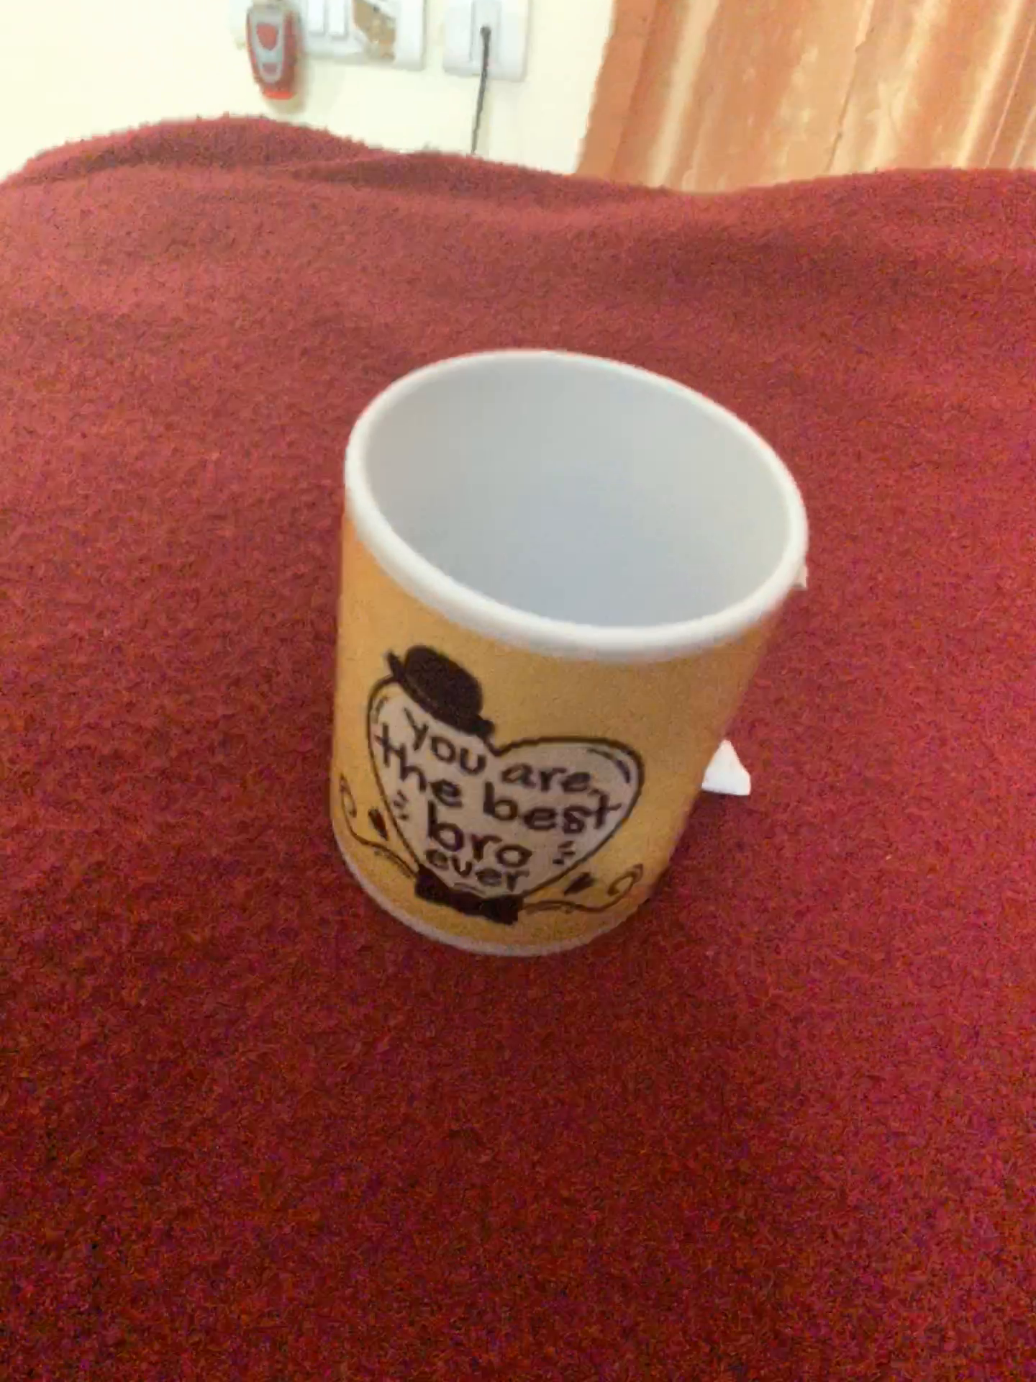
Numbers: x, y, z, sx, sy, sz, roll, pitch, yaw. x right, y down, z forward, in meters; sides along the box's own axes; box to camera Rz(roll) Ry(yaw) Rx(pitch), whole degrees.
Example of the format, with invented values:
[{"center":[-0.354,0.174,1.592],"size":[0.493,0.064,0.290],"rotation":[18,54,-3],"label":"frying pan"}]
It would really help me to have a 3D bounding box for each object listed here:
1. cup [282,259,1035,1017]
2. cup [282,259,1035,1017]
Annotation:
[{"center":[0.018,-0.008,0.219],"size":[0.110,0.109,0.081],"rotation":[11,42,0],"label":"cup"},{"center":[0.018,-0.008,0.219],"size":[0.110,0.109,0.081],"rotation":[11,42,0],"label":"cup"}]
